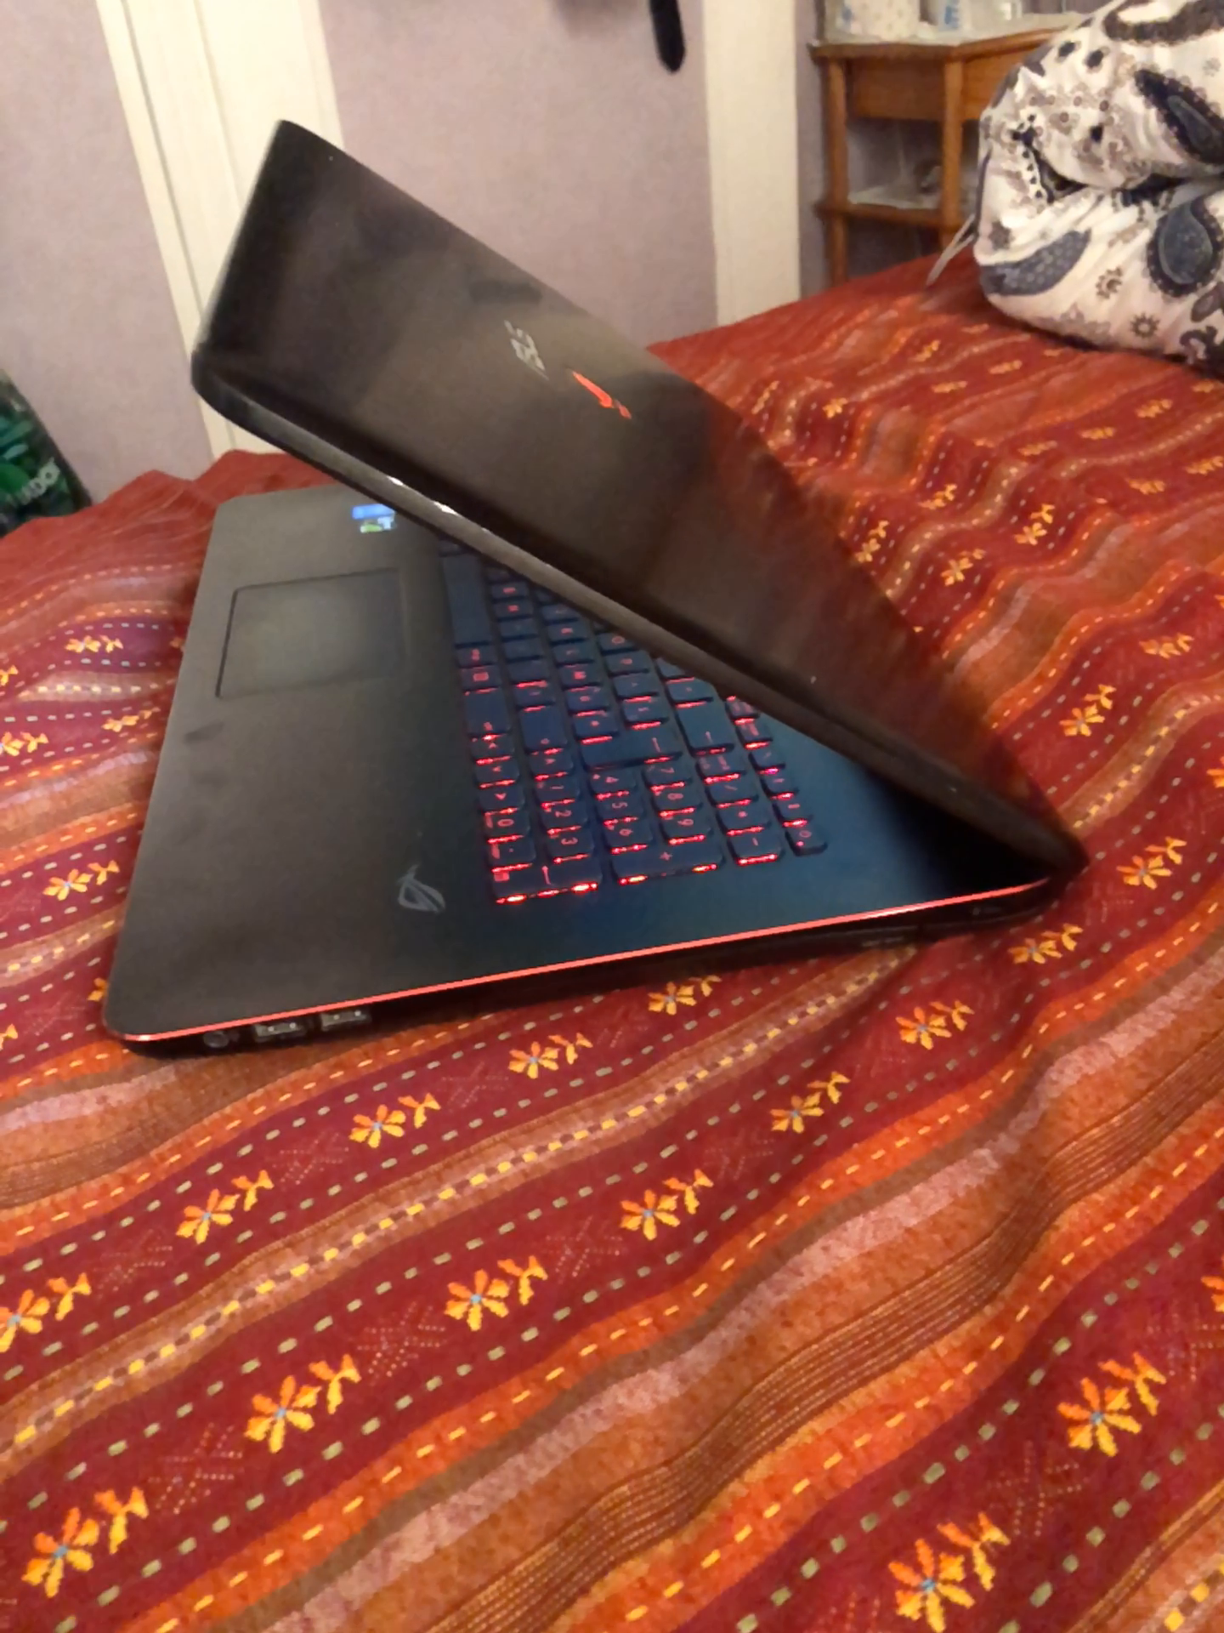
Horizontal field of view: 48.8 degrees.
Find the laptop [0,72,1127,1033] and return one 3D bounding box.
[{"bbox_3d":[-0.042,-0.143,0.493,0.267,0.168,0.401,-9,34,-5],"label":"laptop"}]
